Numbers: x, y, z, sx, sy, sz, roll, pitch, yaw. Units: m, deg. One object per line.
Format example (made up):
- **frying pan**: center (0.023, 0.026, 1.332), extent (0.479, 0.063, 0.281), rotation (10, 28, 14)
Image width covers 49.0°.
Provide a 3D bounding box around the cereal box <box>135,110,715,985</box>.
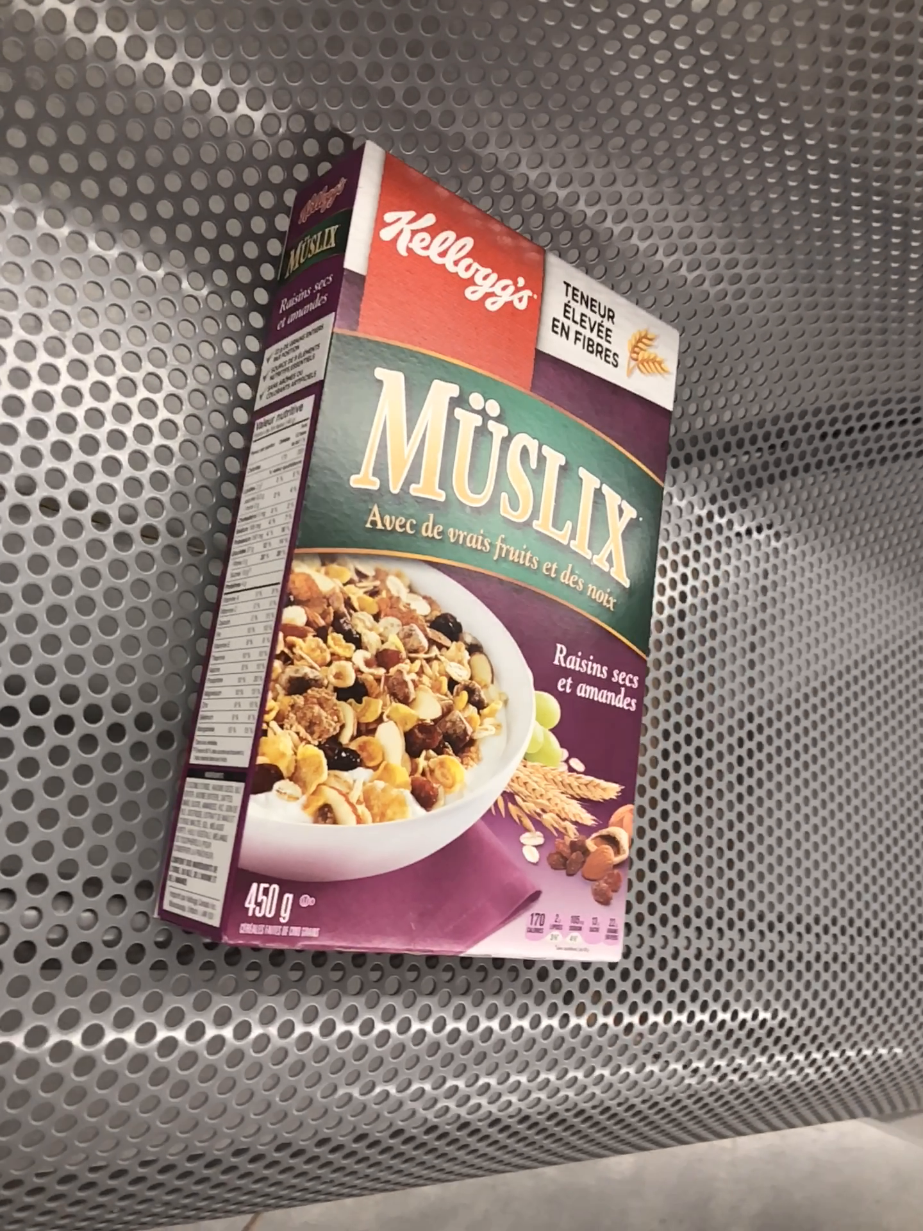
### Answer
- **cereal box**: center (0.005, -0.010, 0.363), extent (0.180, 0.050, 0.260), rotation (17, 74, -36)
